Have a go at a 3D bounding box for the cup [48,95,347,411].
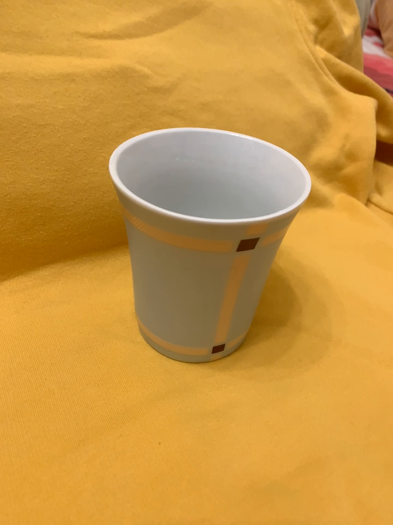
[{"bbox_3d":[0.003,-0.016,0.232,0.098,0.103,0.121,27,42,20],"label":"cup"}]
